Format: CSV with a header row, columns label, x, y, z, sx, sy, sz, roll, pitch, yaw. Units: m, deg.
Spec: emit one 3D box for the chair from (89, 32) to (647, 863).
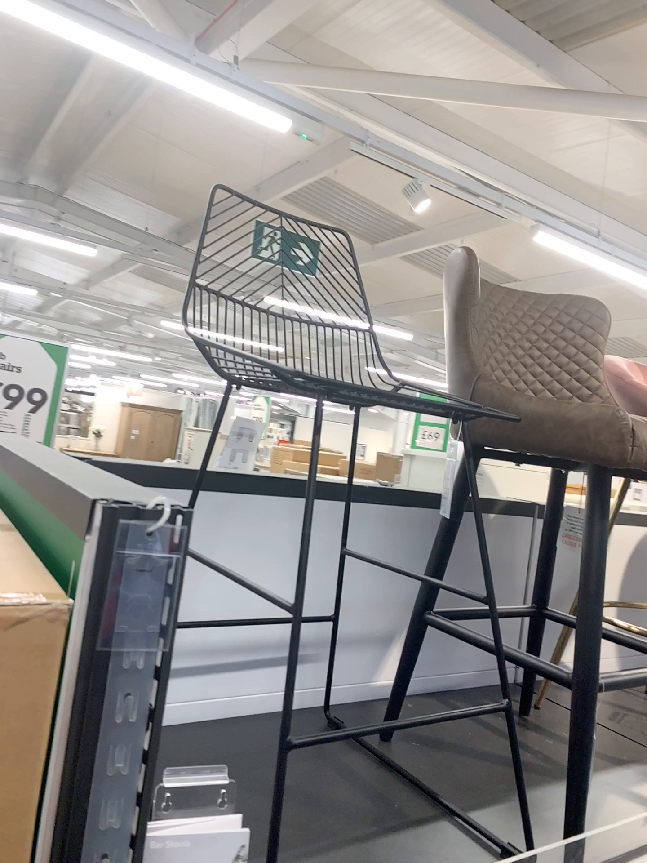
label,x,y,z,sx,sy,sz,roll,pitch,yaw
chair,0.044,0.081,1.019,0.507,0.968,0.528,10,-1,-34
